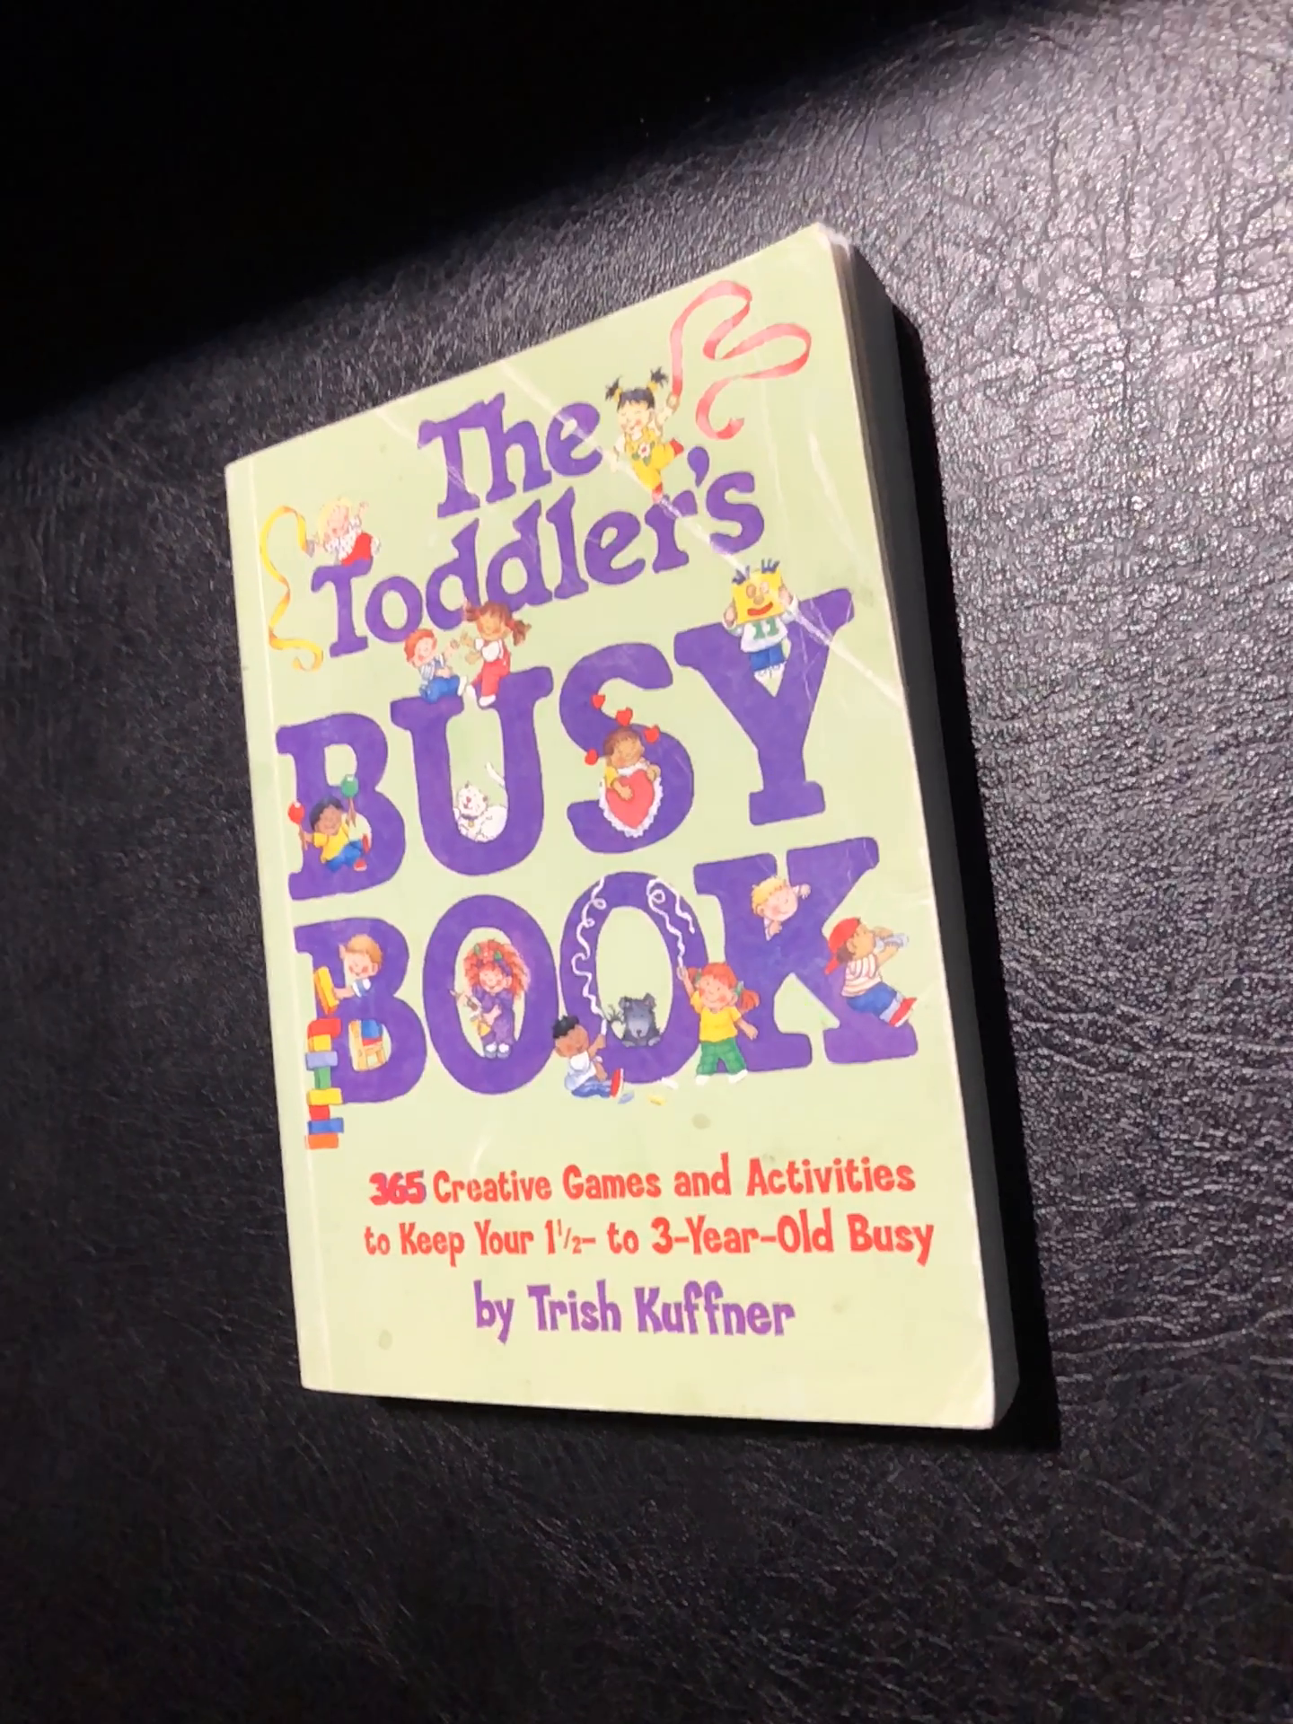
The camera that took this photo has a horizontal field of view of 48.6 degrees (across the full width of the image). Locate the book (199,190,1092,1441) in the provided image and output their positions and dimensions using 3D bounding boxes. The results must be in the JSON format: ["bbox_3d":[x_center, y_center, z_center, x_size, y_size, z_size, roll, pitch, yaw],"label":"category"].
[{"bbox_3d":[-0.009,0.000,0.246,0.136,0.033,0.176,-9,84,29],"label":"book"}]
